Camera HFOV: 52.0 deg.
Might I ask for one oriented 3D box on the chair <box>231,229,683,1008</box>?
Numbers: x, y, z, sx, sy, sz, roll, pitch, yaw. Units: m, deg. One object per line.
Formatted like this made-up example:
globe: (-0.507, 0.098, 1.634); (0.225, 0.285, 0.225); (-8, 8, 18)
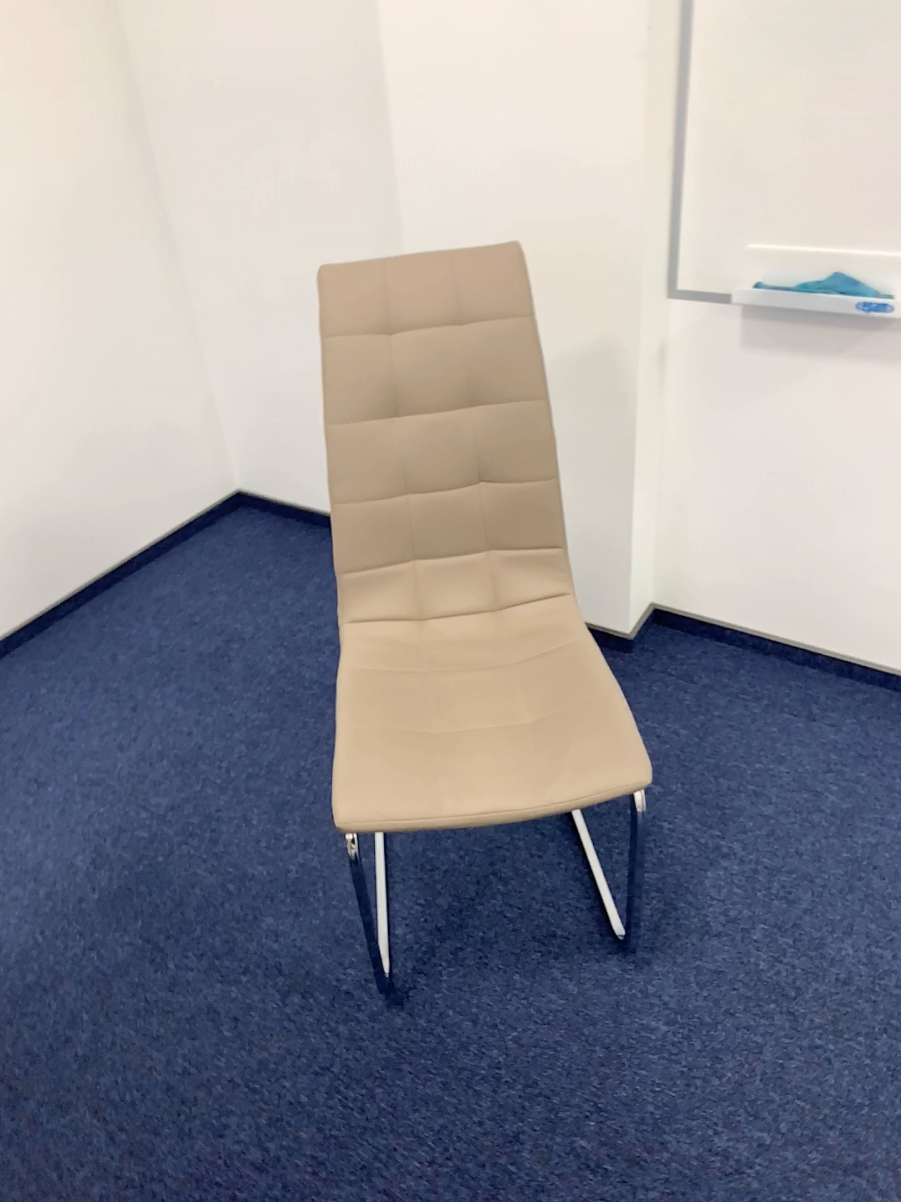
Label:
chair: (0.016, 0.045, 1.385); (0.440, 0.985, 0.533); (-8, 34, -4)
